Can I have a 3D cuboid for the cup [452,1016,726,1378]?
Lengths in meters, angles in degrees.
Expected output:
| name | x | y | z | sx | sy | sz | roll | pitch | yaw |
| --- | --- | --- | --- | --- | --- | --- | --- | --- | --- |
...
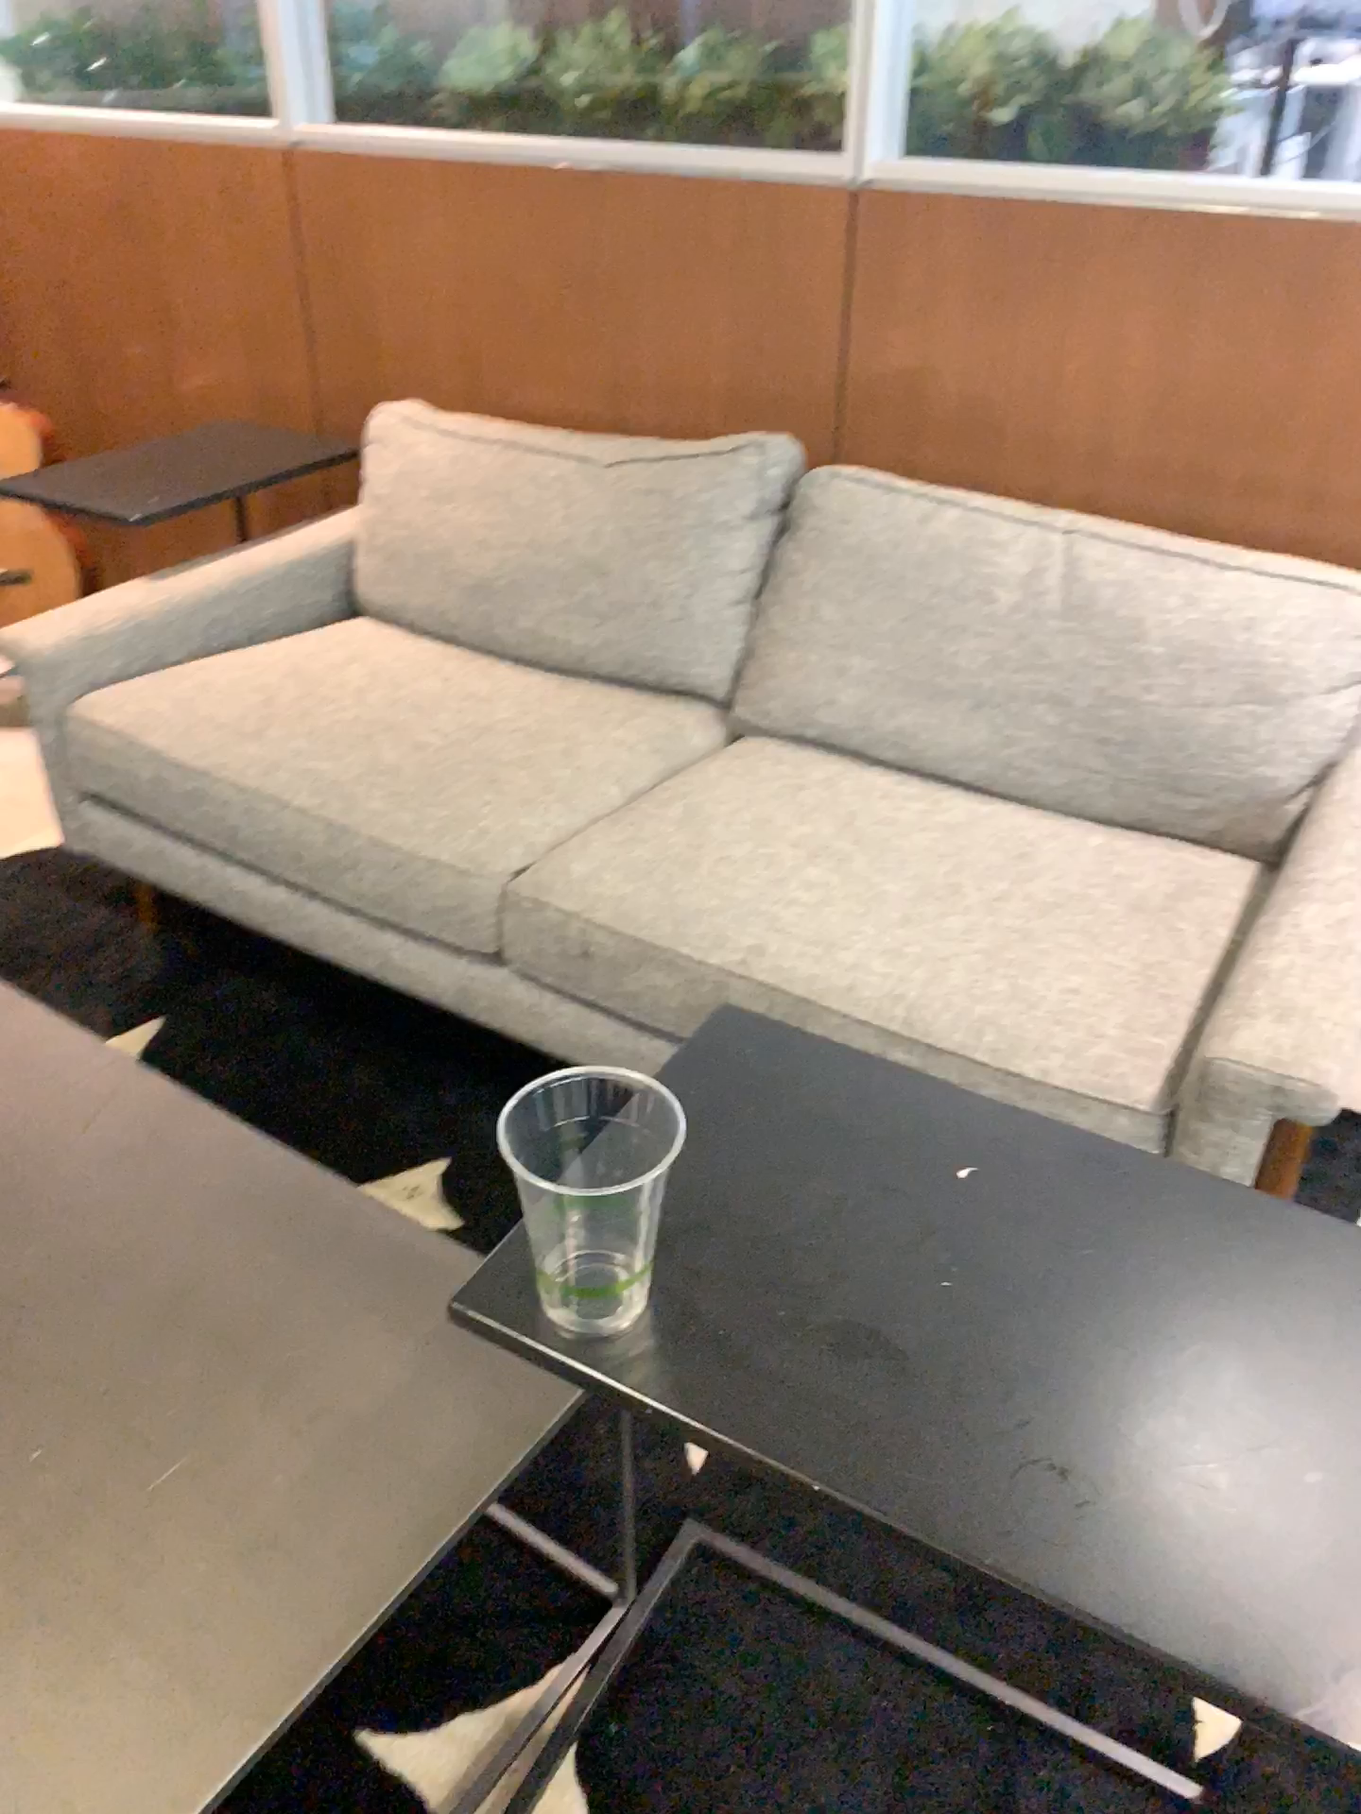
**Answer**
| name | x | y | z | sx | sy | sz | roll | pitch | yaw |
| --- | --- | --- | --- | --- | --- | --- | --- | --- | --- |
| cup | -0.047 | 0.153 | 0.749 | 0.100 | 0.129 | 0.100 | 1 | 32 | 0 |
